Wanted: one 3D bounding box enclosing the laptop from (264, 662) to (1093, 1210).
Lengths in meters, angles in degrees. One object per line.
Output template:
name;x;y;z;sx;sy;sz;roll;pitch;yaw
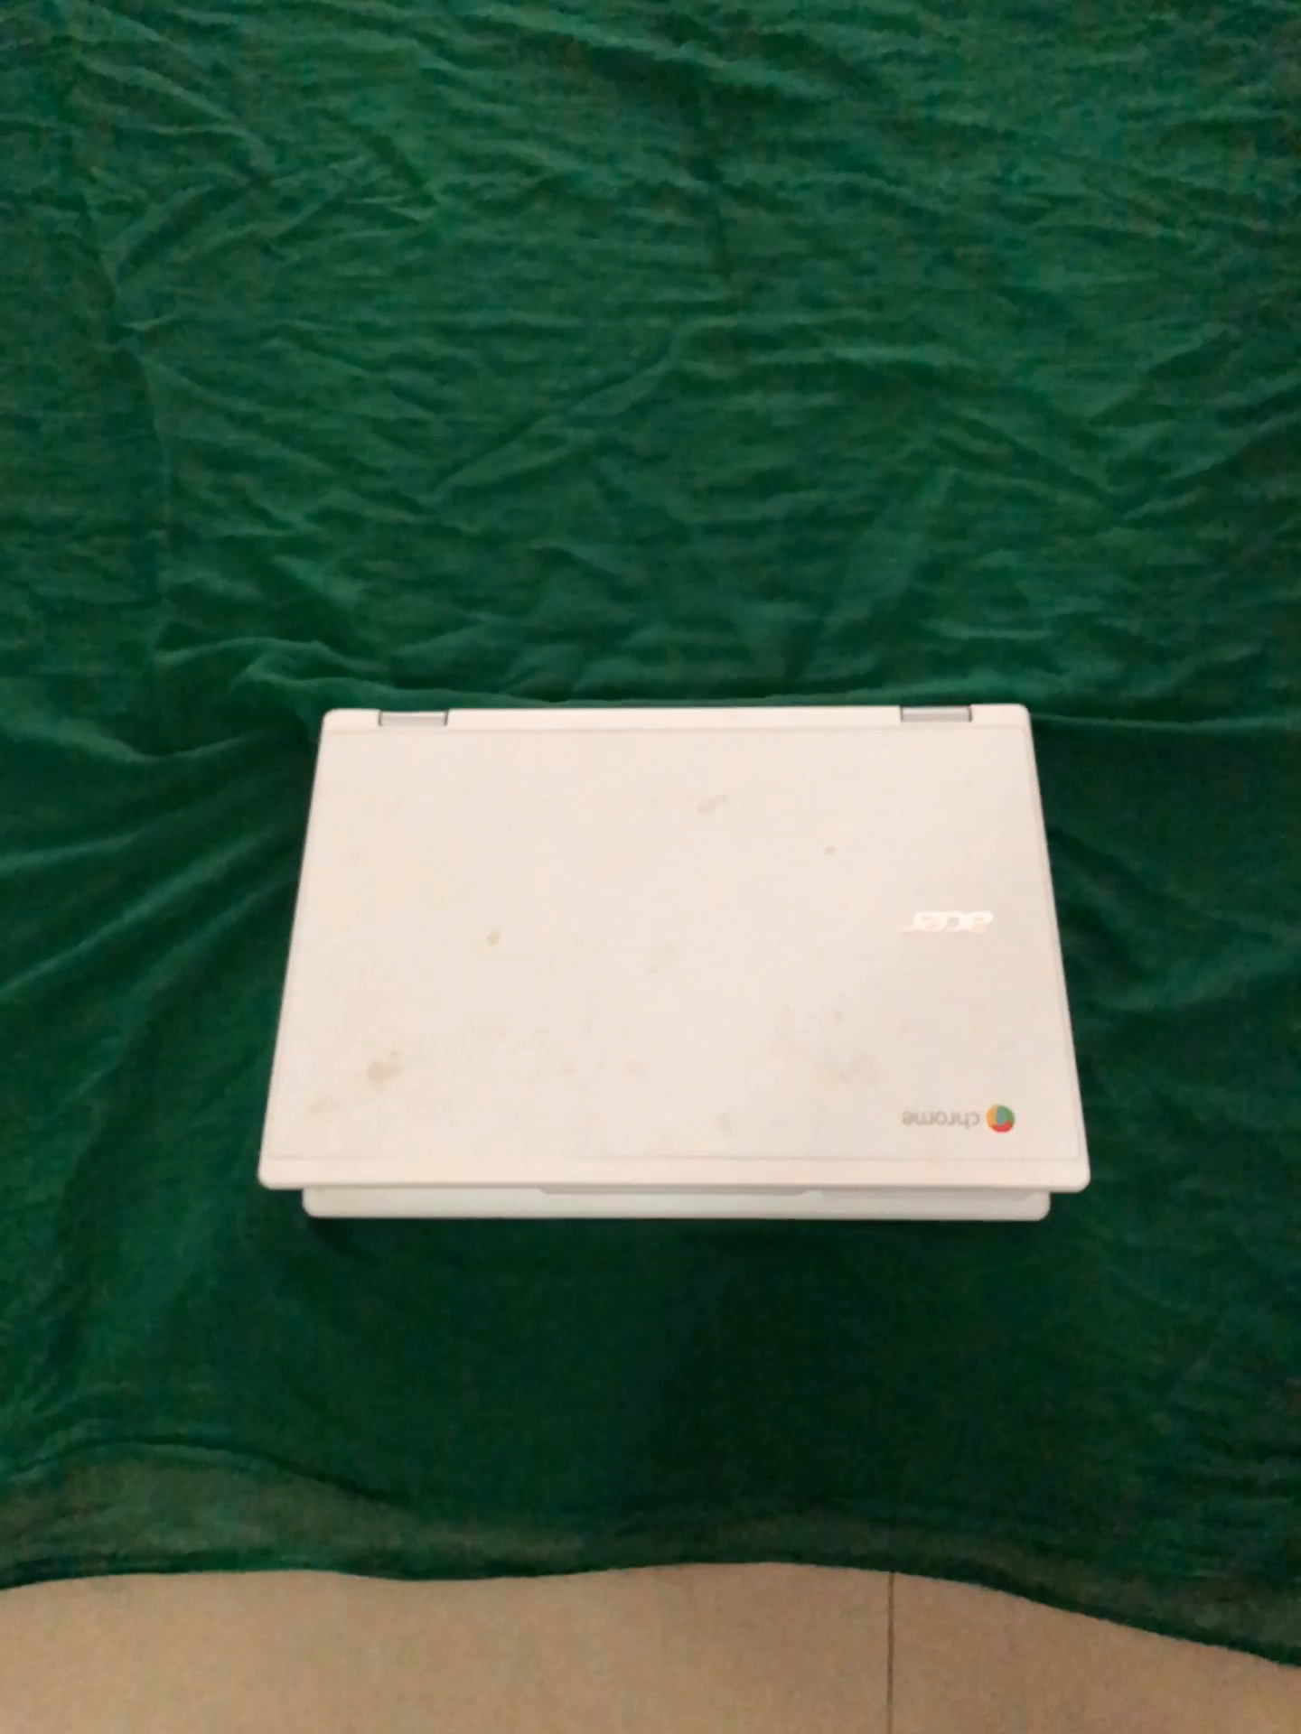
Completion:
laptop;0.011;0.028;0.540;0.281;0.065;0.193;0;78;3
